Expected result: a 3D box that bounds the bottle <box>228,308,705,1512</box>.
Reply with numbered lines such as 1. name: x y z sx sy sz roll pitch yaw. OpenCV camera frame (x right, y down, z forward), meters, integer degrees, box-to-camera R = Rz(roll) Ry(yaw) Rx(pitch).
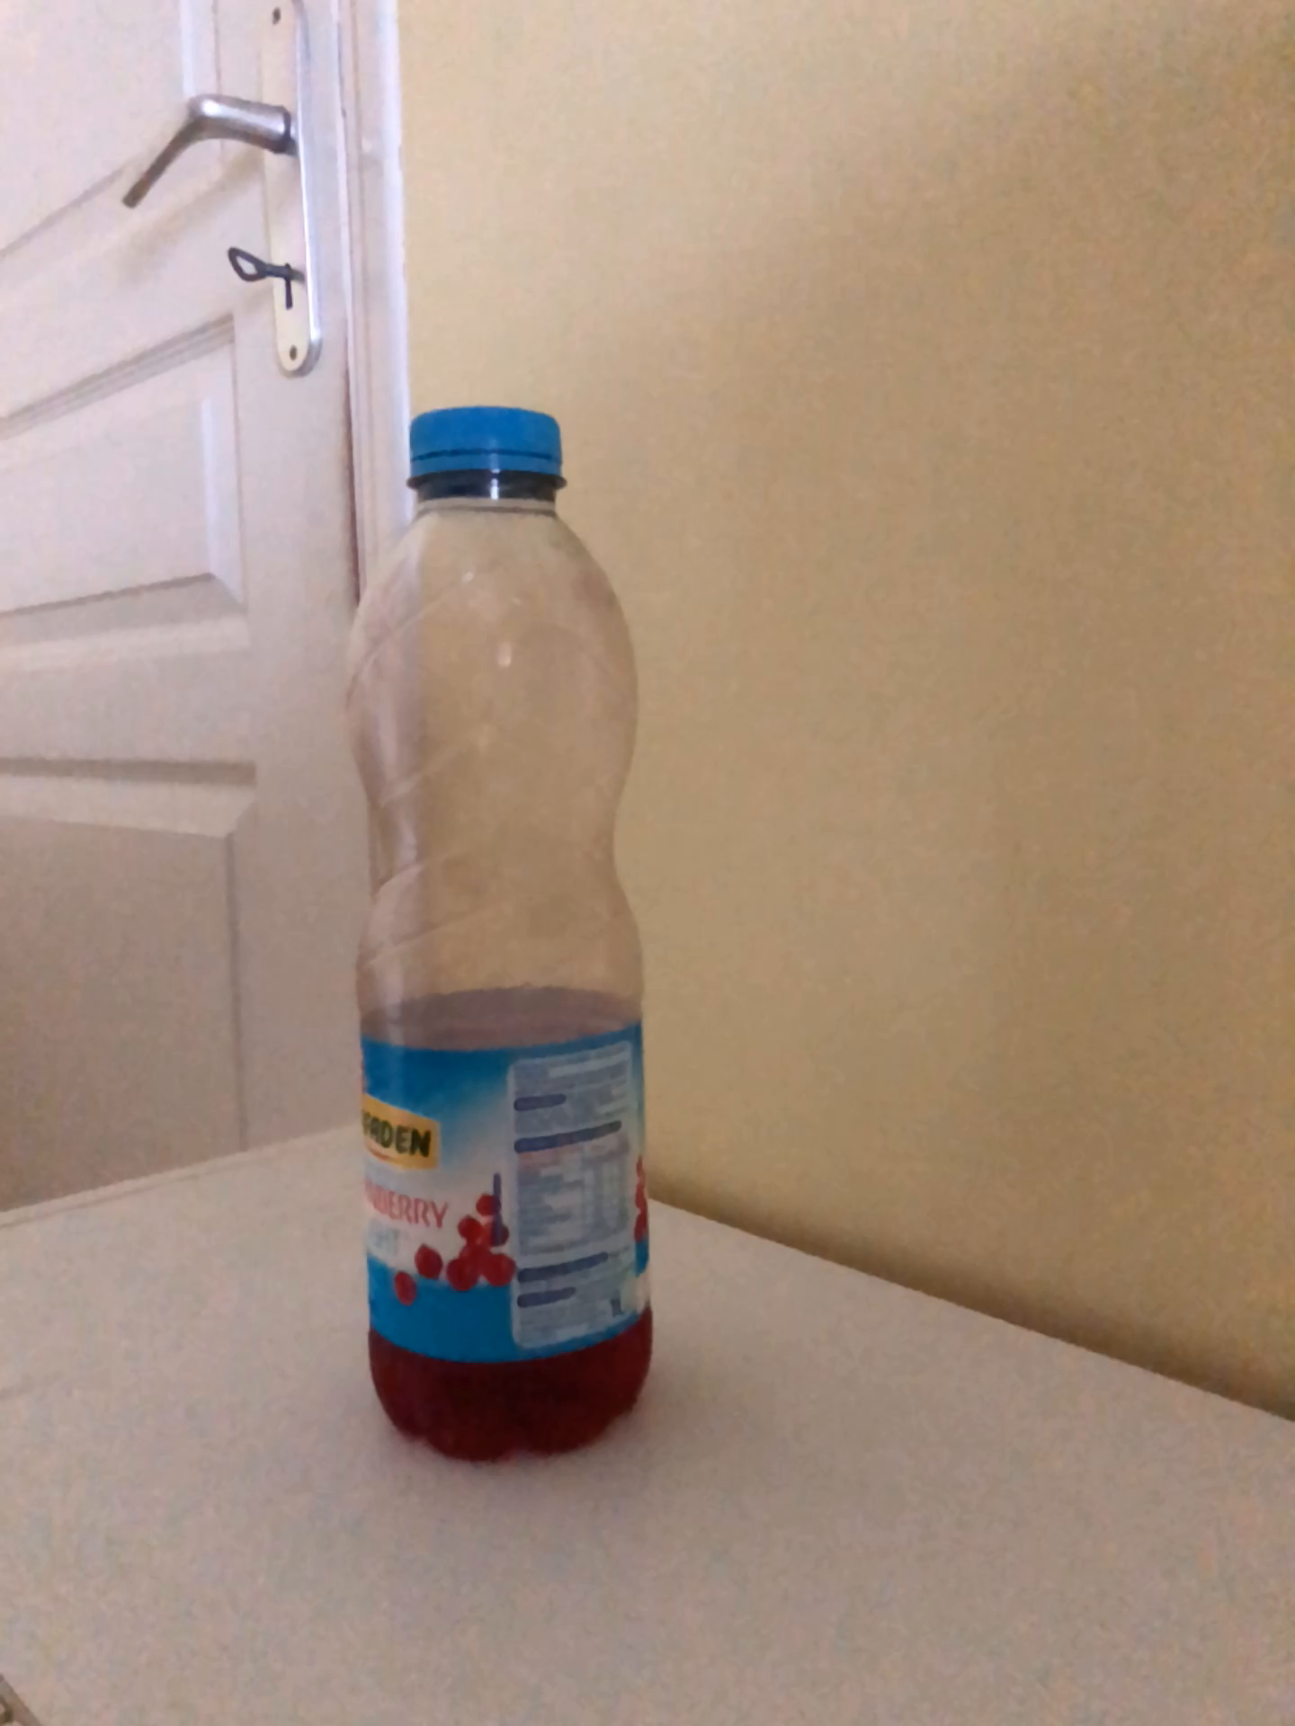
1. bottle: -0.048 0.009 0.376 0.080 0.270 0.090 -5 6 -39
